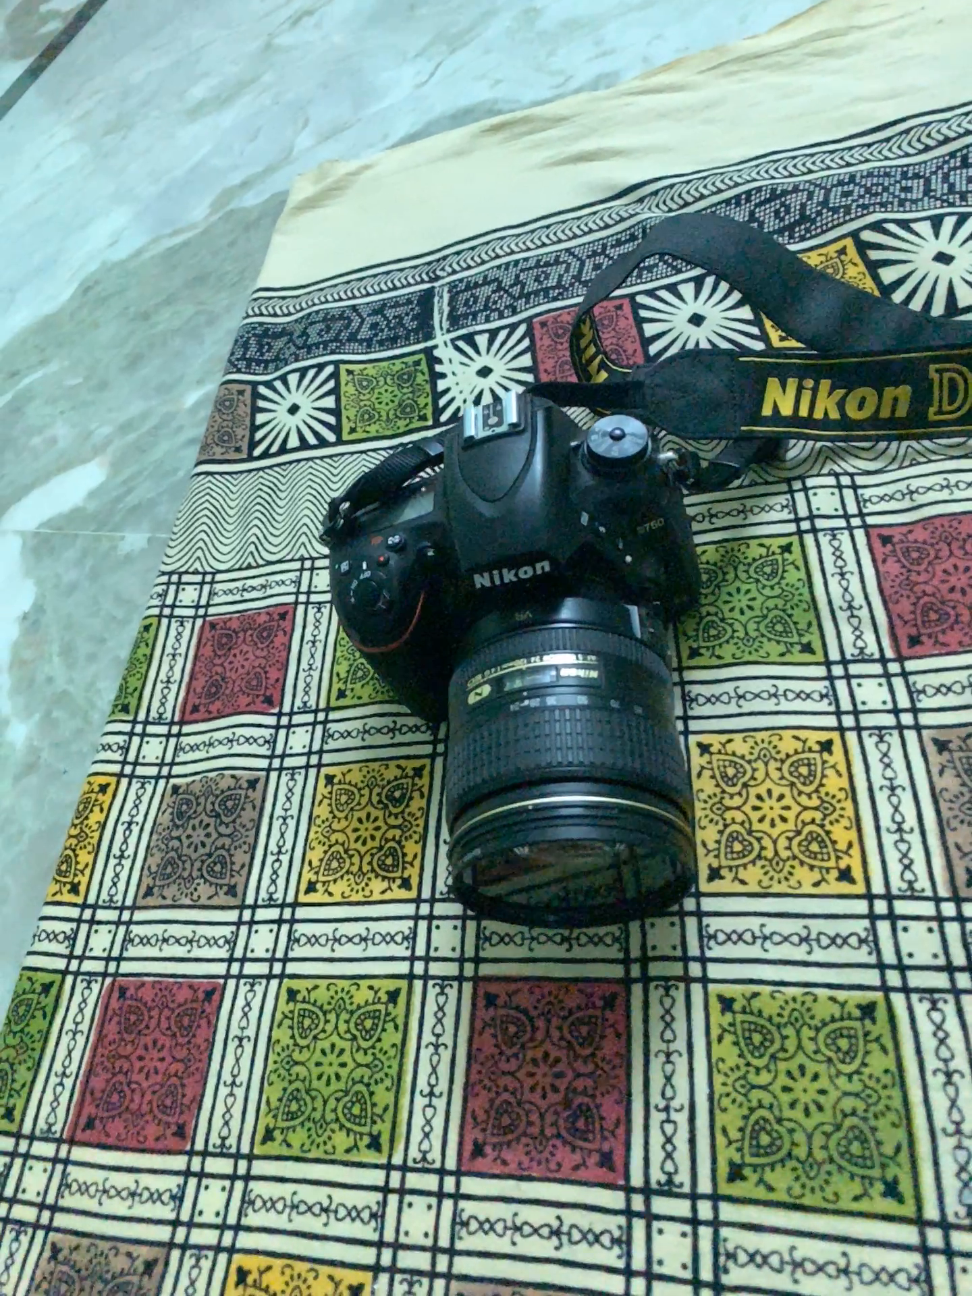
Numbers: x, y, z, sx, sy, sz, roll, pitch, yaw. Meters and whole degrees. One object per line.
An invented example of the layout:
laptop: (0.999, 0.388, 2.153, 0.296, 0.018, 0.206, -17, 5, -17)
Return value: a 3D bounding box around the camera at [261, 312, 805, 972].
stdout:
camera: (0.020, -0.002, 0.357, 0.140, 0.100, 0.190, -12, 52, 17)
